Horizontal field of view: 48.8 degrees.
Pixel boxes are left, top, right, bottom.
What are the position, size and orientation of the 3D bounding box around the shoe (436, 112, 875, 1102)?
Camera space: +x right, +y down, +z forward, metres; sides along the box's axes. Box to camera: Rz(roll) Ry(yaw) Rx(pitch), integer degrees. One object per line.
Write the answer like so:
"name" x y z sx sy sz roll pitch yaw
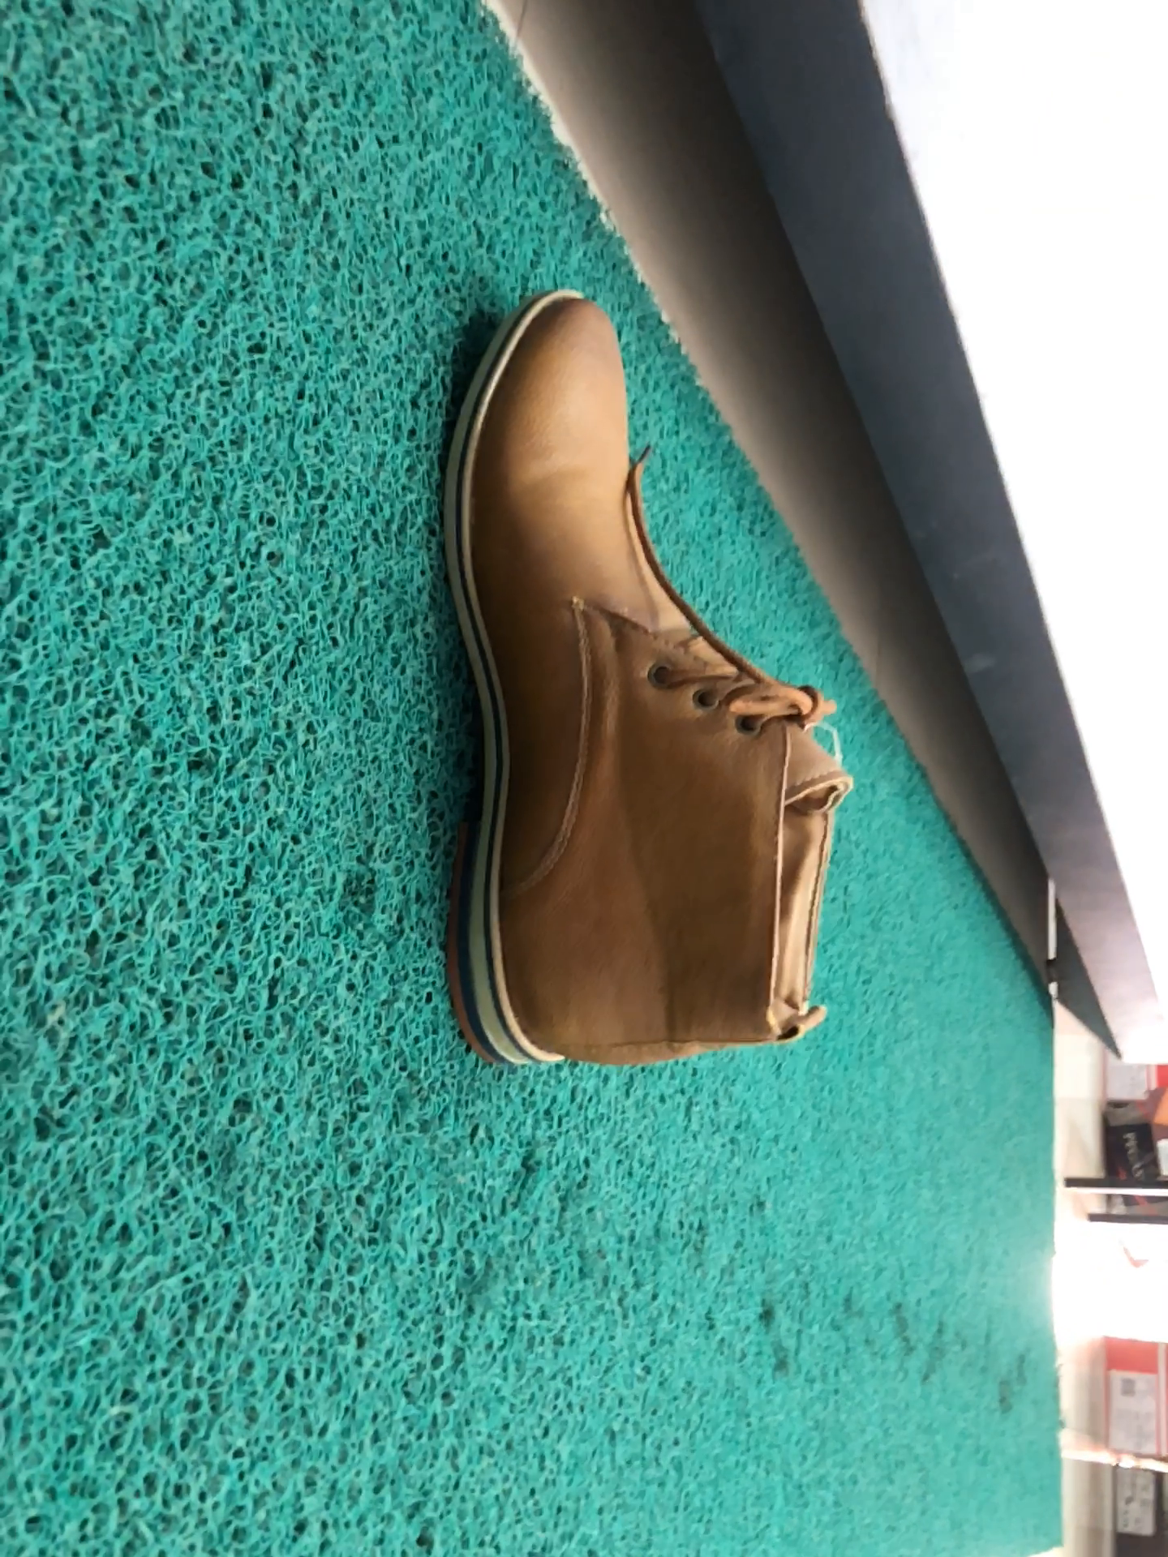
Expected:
"shoe" 0.028 -0.049 0.471 0.121 0.109 0.310 12 75 -61
